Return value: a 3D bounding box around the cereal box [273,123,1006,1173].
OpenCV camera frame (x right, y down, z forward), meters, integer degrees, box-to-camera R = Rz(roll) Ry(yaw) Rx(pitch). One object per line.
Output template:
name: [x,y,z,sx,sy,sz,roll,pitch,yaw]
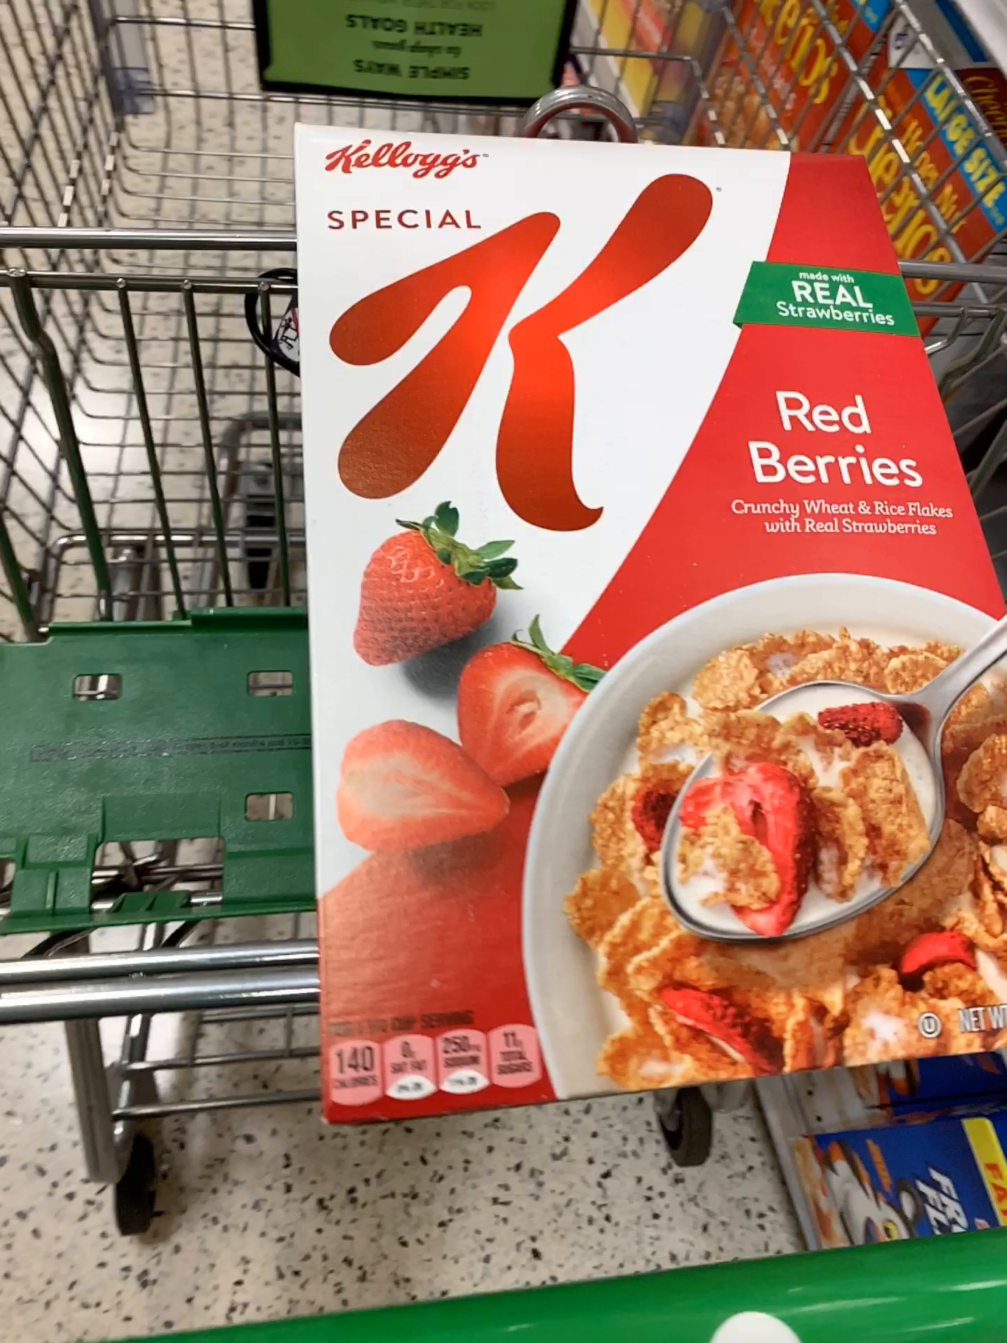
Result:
cereal box: [0.040,-0.027,0.295,0.200,0.050,0.281,-2,67,-11]
